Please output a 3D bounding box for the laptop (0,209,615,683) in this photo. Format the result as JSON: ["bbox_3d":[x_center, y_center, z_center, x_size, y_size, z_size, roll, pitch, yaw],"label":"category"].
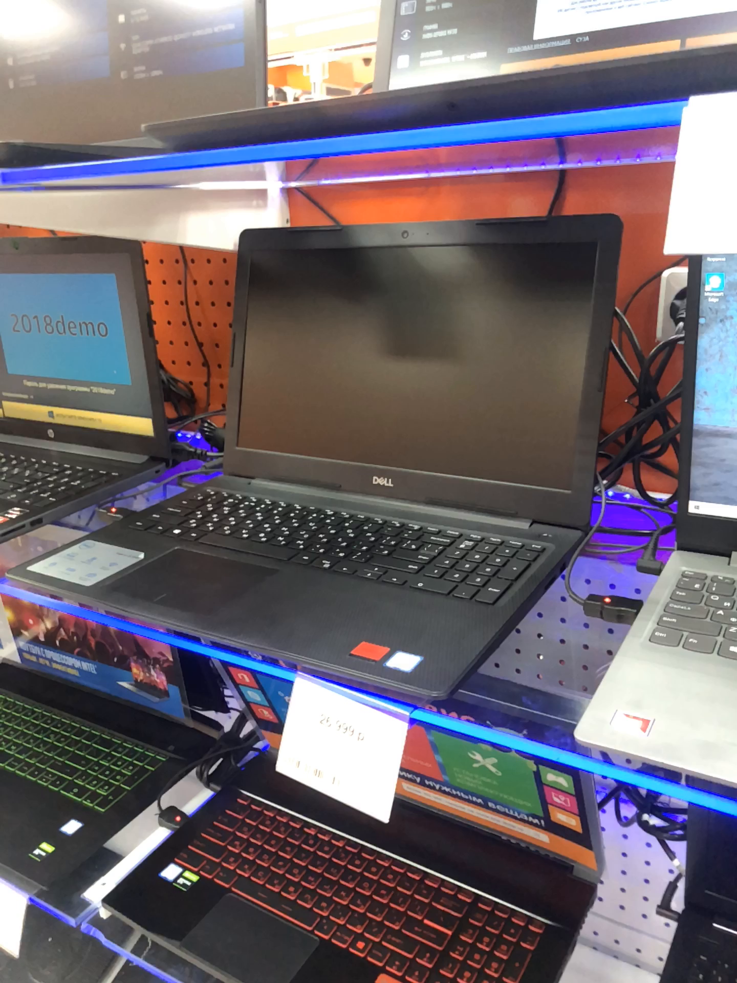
[{"bbox_3d":[-0.047,-0.079,0.621,0.374,0.233,0.317,8,22,29],"label":"laptop"}]
